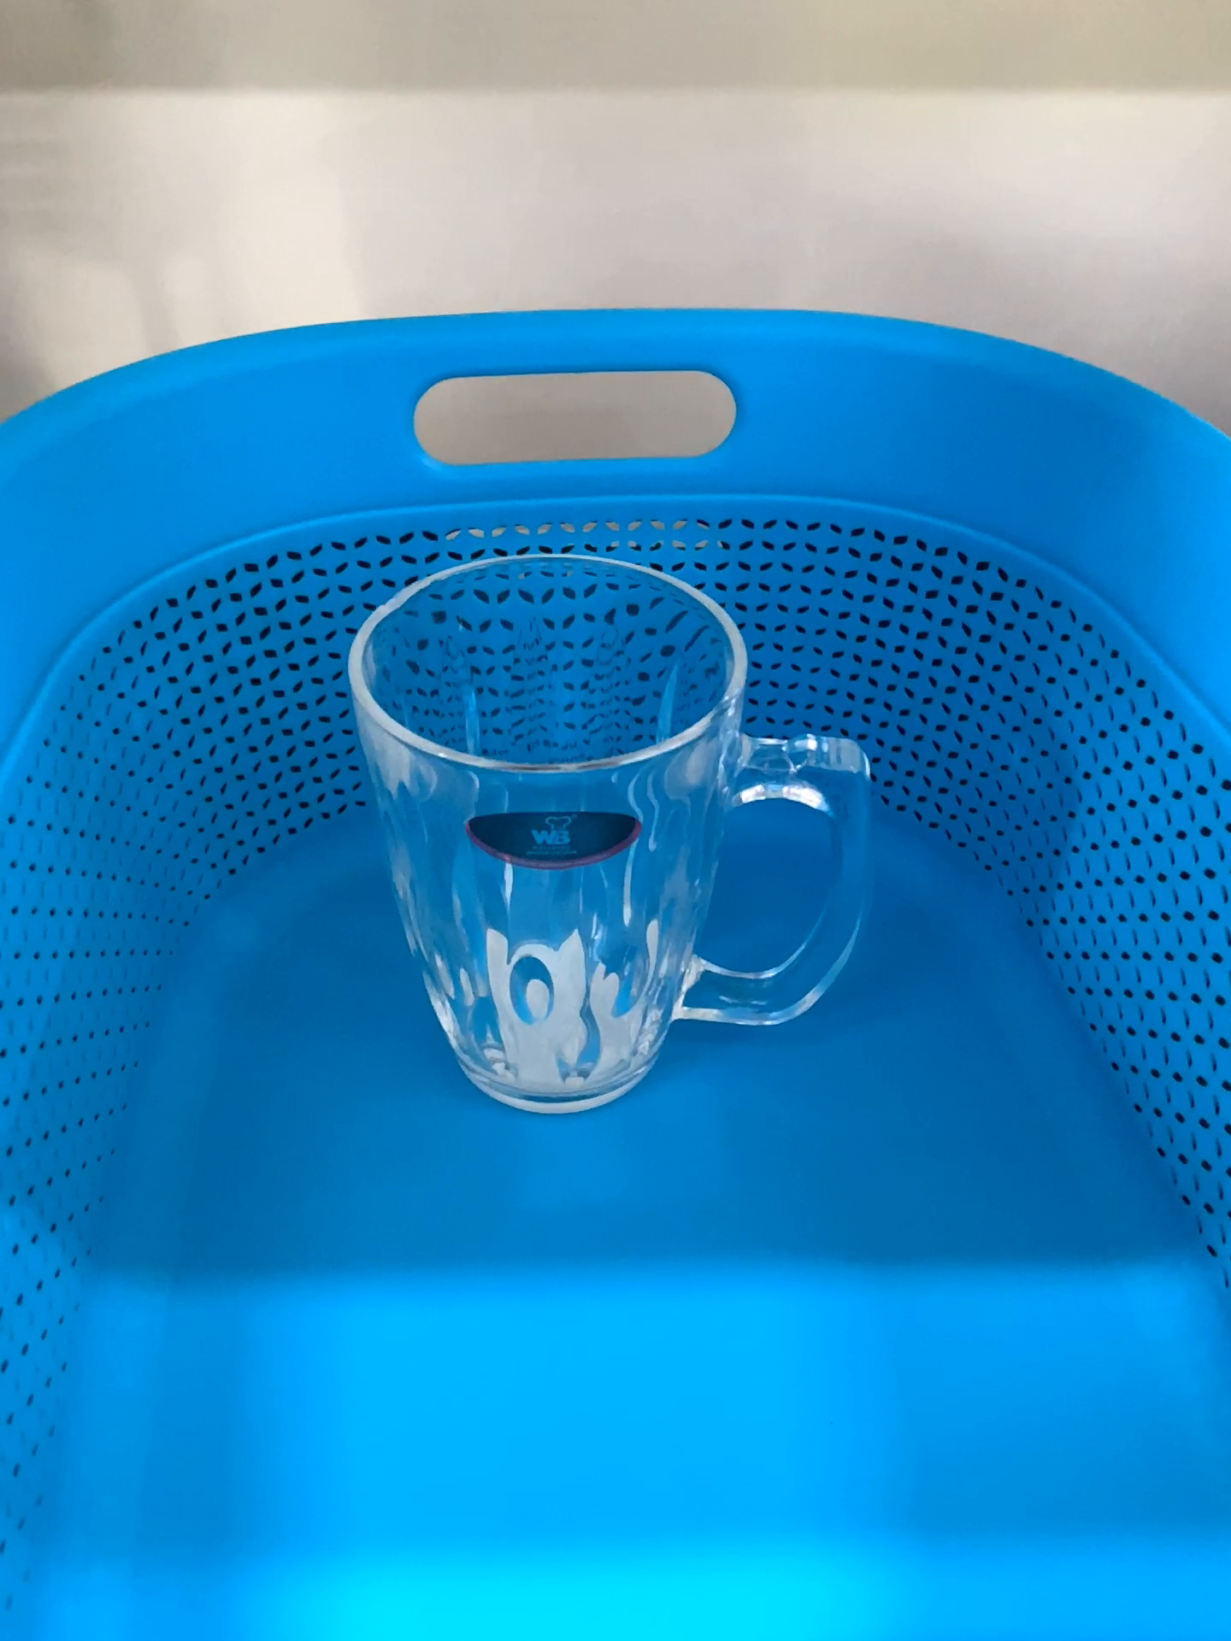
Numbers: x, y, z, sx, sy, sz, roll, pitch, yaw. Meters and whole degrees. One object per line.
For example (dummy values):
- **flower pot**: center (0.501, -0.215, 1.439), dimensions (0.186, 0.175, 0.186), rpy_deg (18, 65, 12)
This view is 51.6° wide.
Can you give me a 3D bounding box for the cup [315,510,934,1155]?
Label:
- **cup**: center (-0.002, 0.003, 0.290), dimensions (0.109, 0.116, 0.078), rpy_deg (-4, 40, -5)
